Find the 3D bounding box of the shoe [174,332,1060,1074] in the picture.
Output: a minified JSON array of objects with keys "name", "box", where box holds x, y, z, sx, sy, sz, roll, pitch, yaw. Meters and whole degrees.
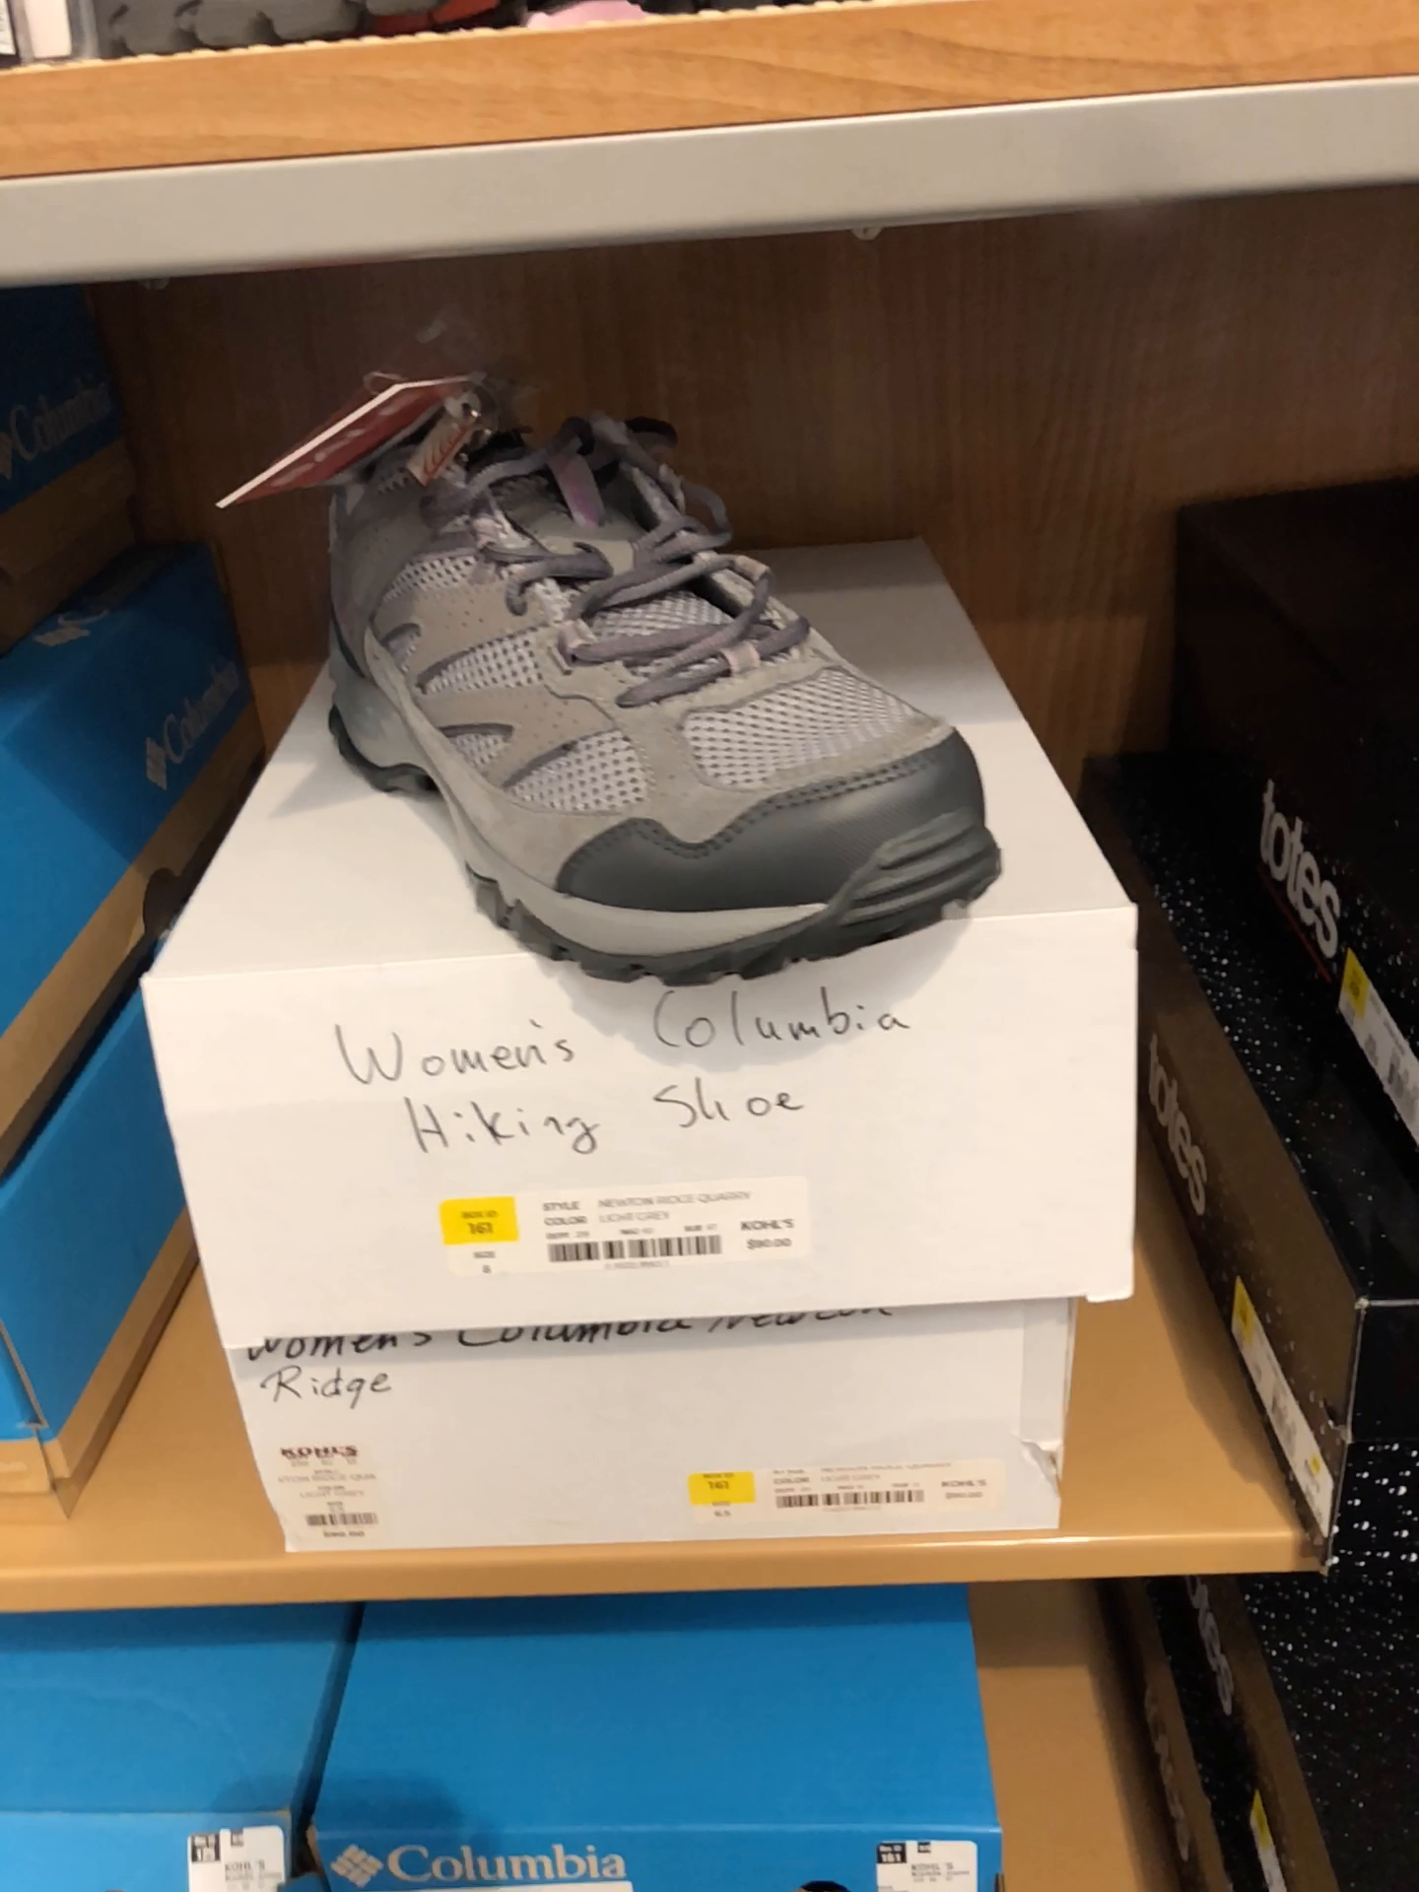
[{"name":"shoe","box":[-0.041,-0.089,0.431,0.104,0.114,0.268,-21,33,-27]}]
